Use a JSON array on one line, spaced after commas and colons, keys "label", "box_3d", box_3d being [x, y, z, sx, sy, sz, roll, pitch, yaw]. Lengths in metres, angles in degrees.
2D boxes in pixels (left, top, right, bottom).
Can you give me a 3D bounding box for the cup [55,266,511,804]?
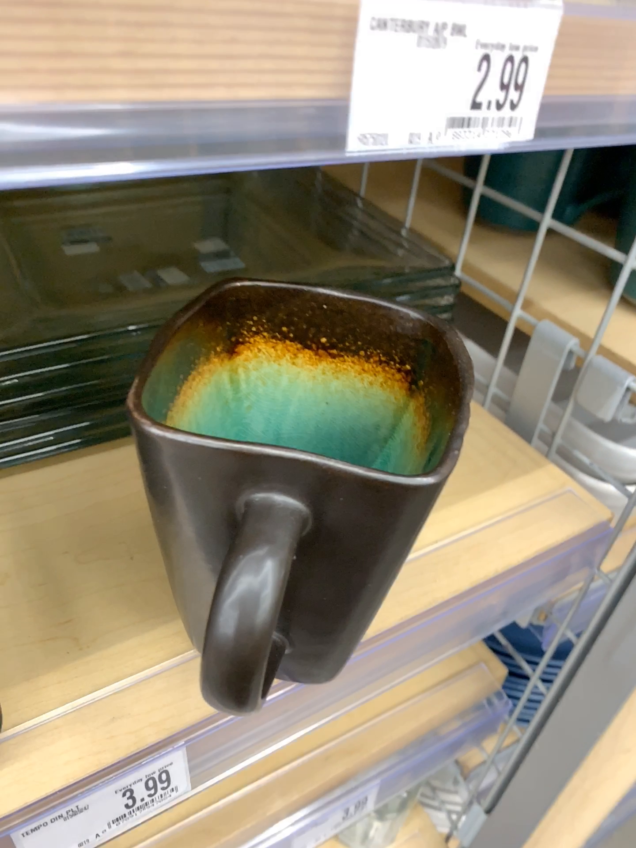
[{"label": "cup", "box_3d": [-0.007, 0.027, 0.199, 0.088, 0.099, 0.108, 9, 36, 1]}]
